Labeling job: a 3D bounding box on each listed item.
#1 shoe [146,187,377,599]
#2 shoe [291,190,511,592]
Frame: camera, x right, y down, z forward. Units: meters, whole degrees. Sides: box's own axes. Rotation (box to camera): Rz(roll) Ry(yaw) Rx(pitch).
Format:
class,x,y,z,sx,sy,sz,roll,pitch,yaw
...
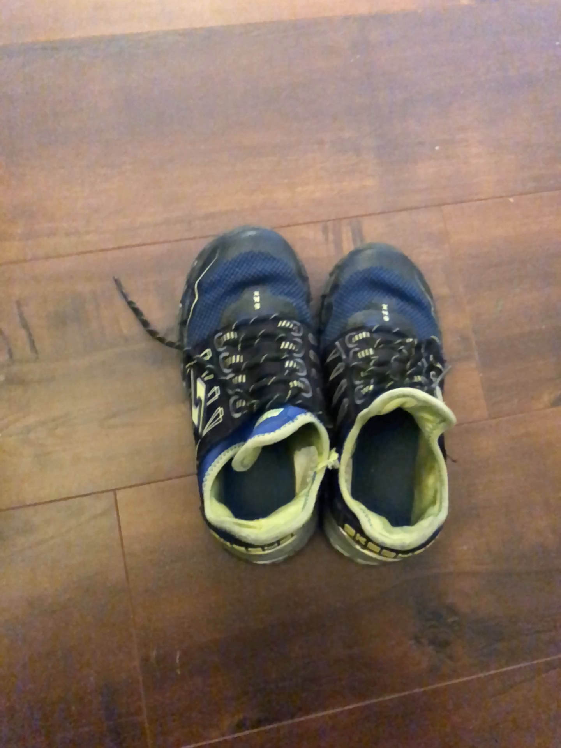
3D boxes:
class,x,y,z,sx,sy,sz,roll,pitch,yaw
shoe,-0.018,0.012,0.385,0.100,0.120,0.210,-5,81,-6
shoe,0.069,0.014,0.391,0.100,0.120,0.210,5,80,-5
